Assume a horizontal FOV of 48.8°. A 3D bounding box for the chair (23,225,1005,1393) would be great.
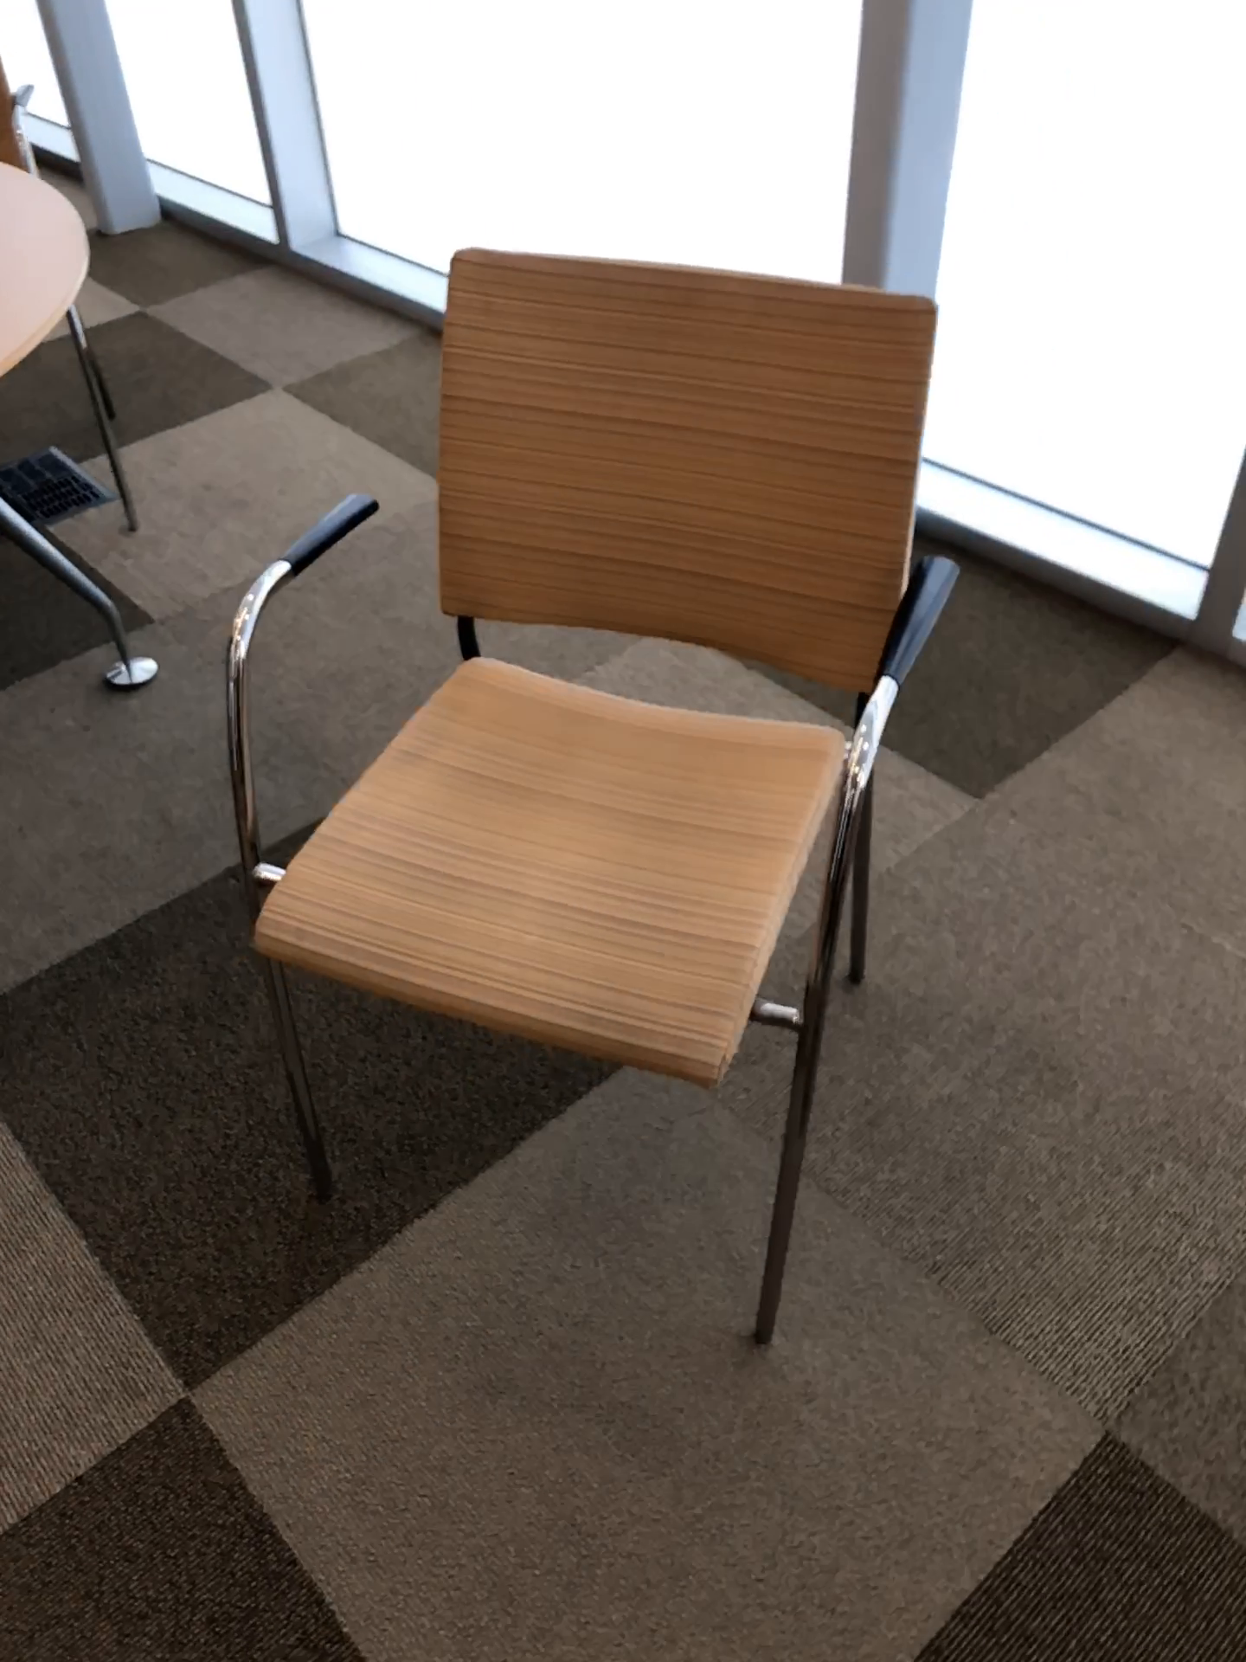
[{"bbox_3d":[-0.021,-0.018,1.232,0.515,0.796,0.548,13,44,16],"label":"chair"}]
